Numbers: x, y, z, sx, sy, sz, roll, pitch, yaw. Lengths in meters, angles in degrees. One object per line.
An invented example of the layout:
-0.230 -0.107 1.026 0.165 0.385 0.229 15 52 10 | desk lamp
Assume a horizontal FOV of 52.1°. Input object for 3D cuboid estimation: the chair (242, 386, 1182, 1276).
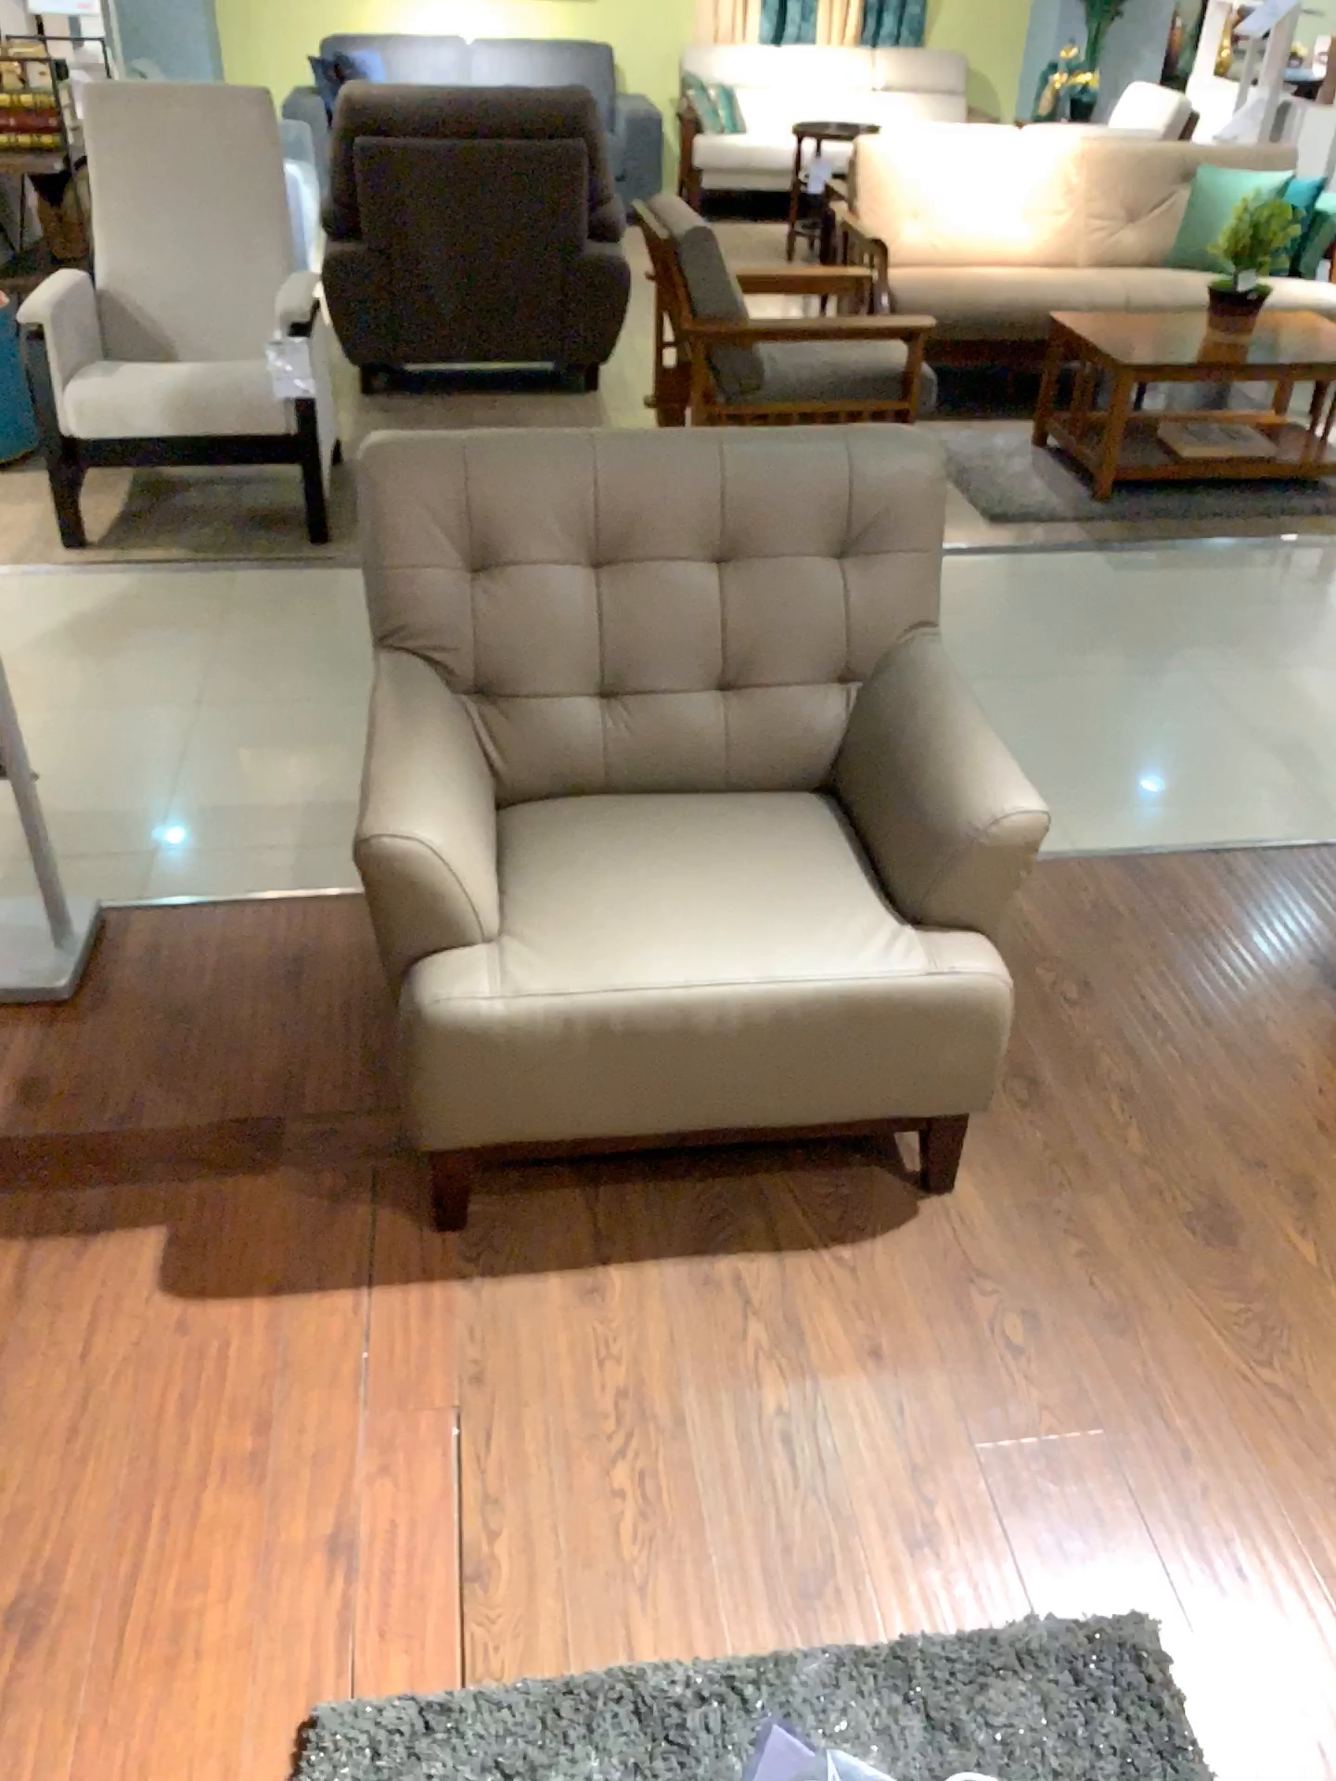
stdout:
-0.025 -0.163 2.007 0.950 0.856 1.005 -3 35 -8 | chair
